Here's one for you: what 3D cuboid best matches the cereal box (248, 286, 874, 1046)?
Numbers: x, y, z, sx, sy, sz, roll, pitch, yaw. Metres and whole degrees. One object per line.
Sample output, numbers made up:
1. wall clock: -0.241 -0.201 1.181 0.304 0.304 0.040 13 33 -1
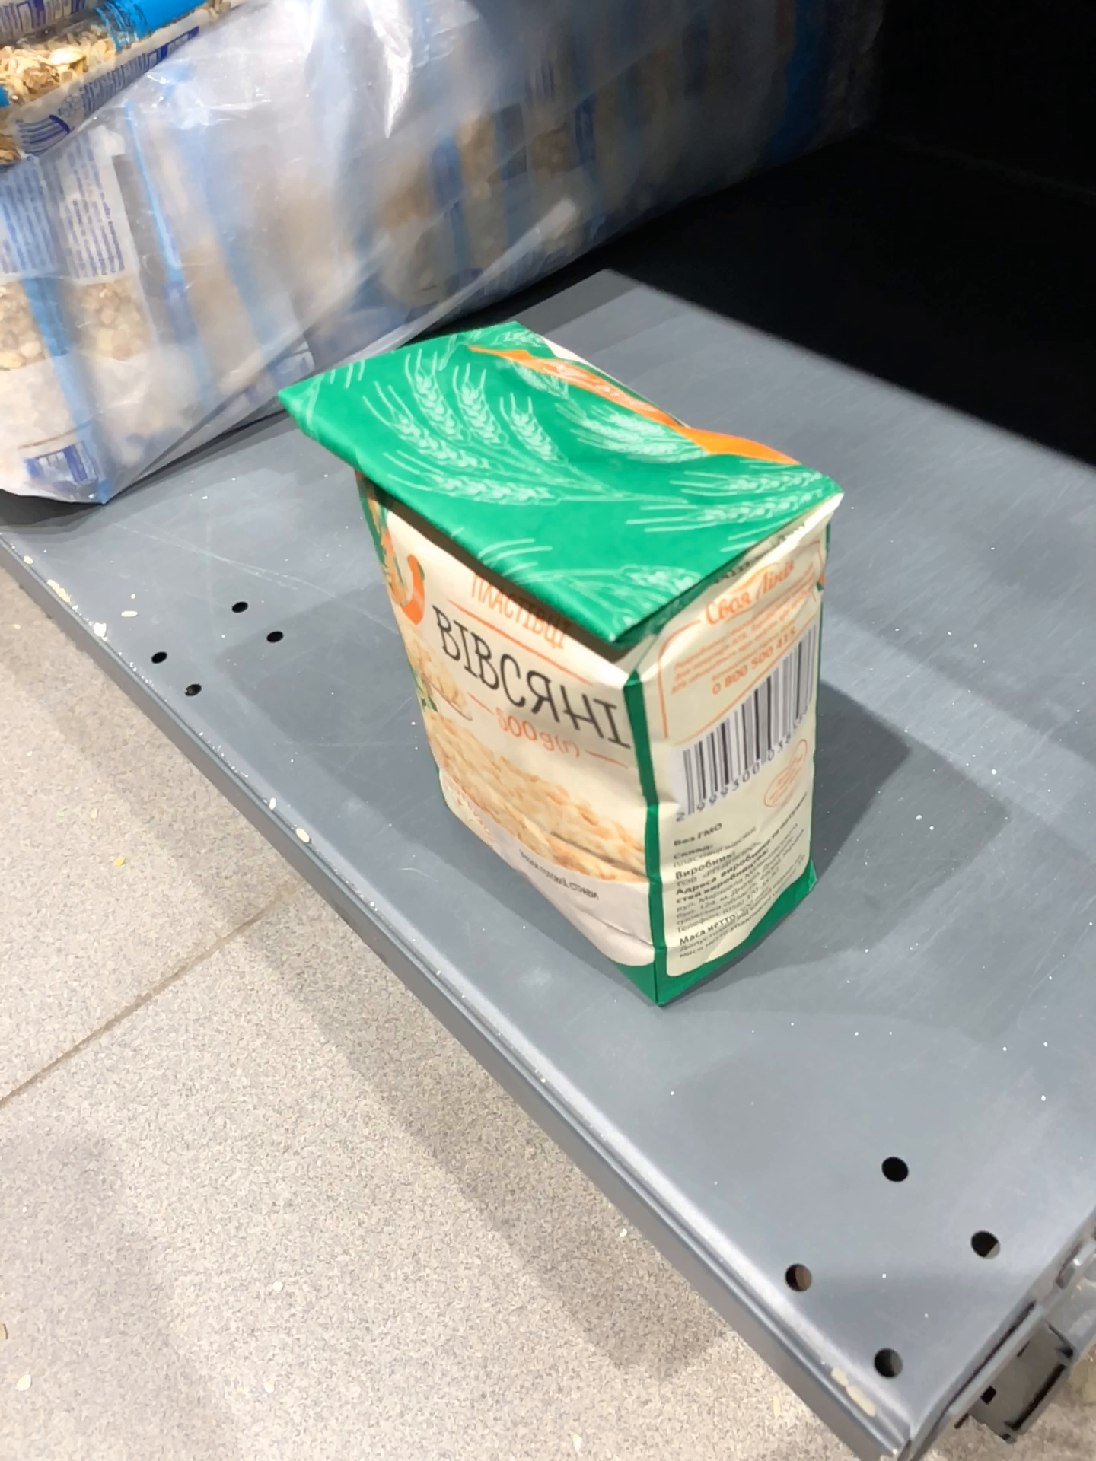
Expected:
1. cereal box: 0.005 -0.015 0.307 0.070 0.139 0.120 -37 53 -23
